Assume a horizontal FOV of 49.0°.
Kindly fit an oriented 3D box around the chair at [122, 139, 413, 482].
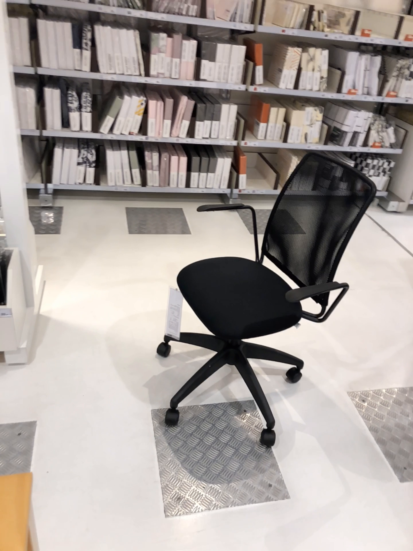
[{"bbox_3d":[0.149,0.054,1.524,0.692,0.814,0.633,-10,36,-25],"label":"chair"}]
